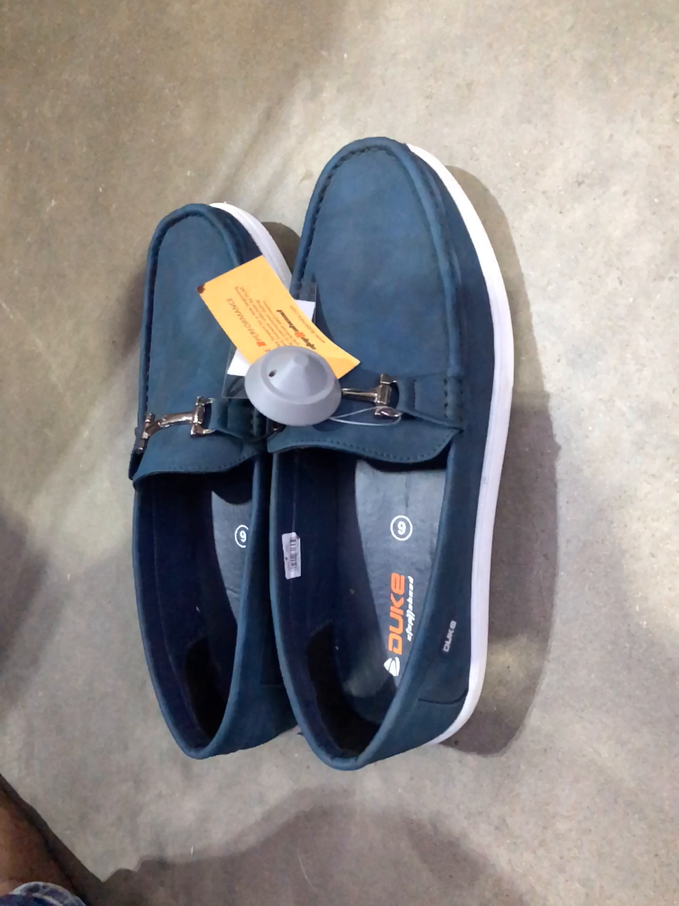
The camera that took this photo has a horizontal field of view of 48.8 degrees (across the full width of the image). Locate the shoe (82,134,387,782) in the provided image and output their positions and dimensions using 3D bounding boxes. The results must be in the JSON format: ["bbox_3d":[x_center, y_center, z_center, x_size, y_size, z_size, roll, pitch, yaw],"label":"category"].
[{"bbox_3d":[-0.060,0.005,0.417,0.110,0.080,0.310,-9,85,30],"label":"shoe"}]

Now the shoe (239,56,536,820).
[{"bbox_3d":[0.024,-0.006,0.366,0.110,0.080,0.310,-3,88,30],"label":"shoe"}]
